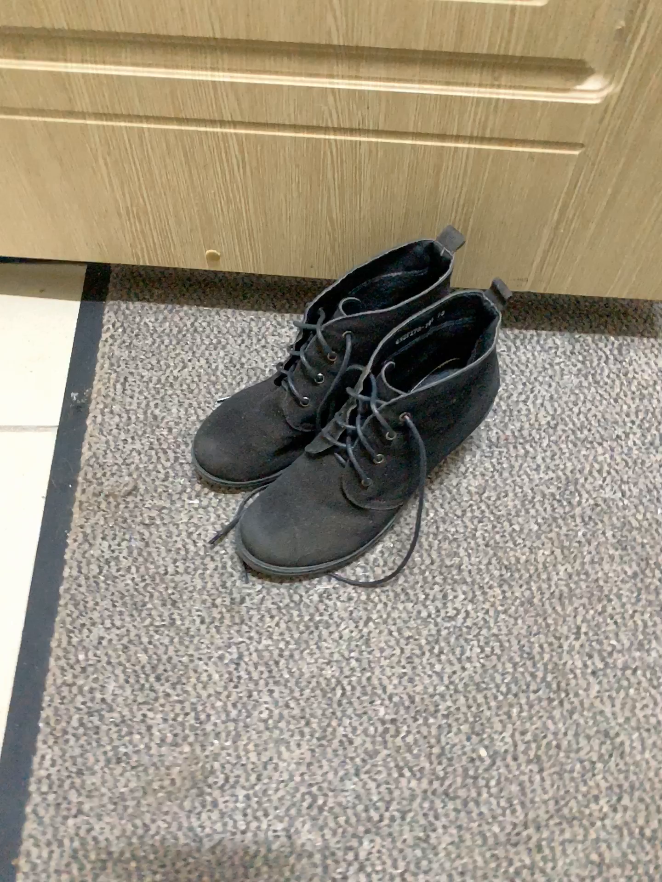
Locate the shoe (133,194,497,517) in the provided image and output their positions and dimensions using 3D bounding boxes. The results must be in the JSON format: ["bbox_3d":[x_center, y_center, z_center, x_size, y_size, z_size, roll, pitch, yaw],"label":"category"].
[{"bbox_3d":[-0.008,-0.059,0.515,0.230,0.160,0.080,-28,66,-15],"label":"shoe"}]

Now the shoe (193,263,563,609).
[{"bbox_3d":[0.033,0.002,0.492,0.230,0.160,0.080,-33,67,-17],"label":"shoe"}]
